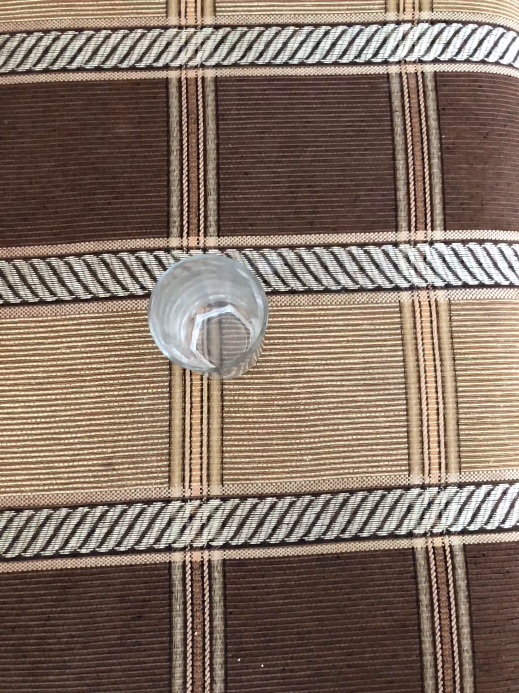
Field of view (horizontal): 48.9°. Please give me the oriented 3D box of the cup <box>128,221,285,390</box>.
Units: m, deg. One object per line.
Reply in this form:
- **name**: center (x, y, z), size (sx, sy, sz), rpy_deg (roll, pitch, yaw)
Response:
- **cup**: center (-0.028, -0.019, 0.384), size (0.075, 0.131, 0.076), rpy_deg (0, 82, 0)
